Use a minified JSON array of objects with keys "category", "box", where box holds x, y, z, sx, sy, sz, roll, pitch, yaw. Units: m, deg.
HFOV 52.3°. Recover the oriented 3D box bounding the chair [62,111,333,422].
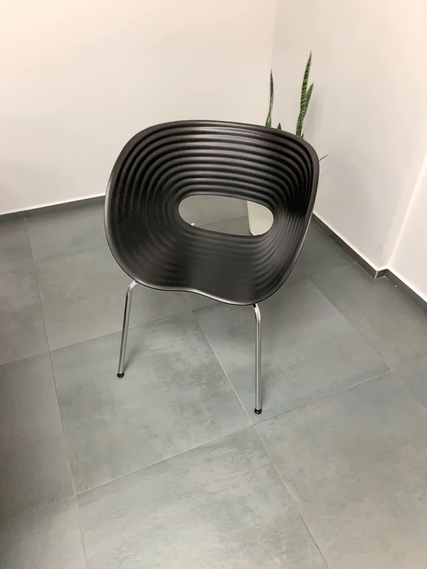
[{"category":"chair","box":[-0.001,-0.079,1.577,0.650,0.796,0.643,12,43,12]}]
